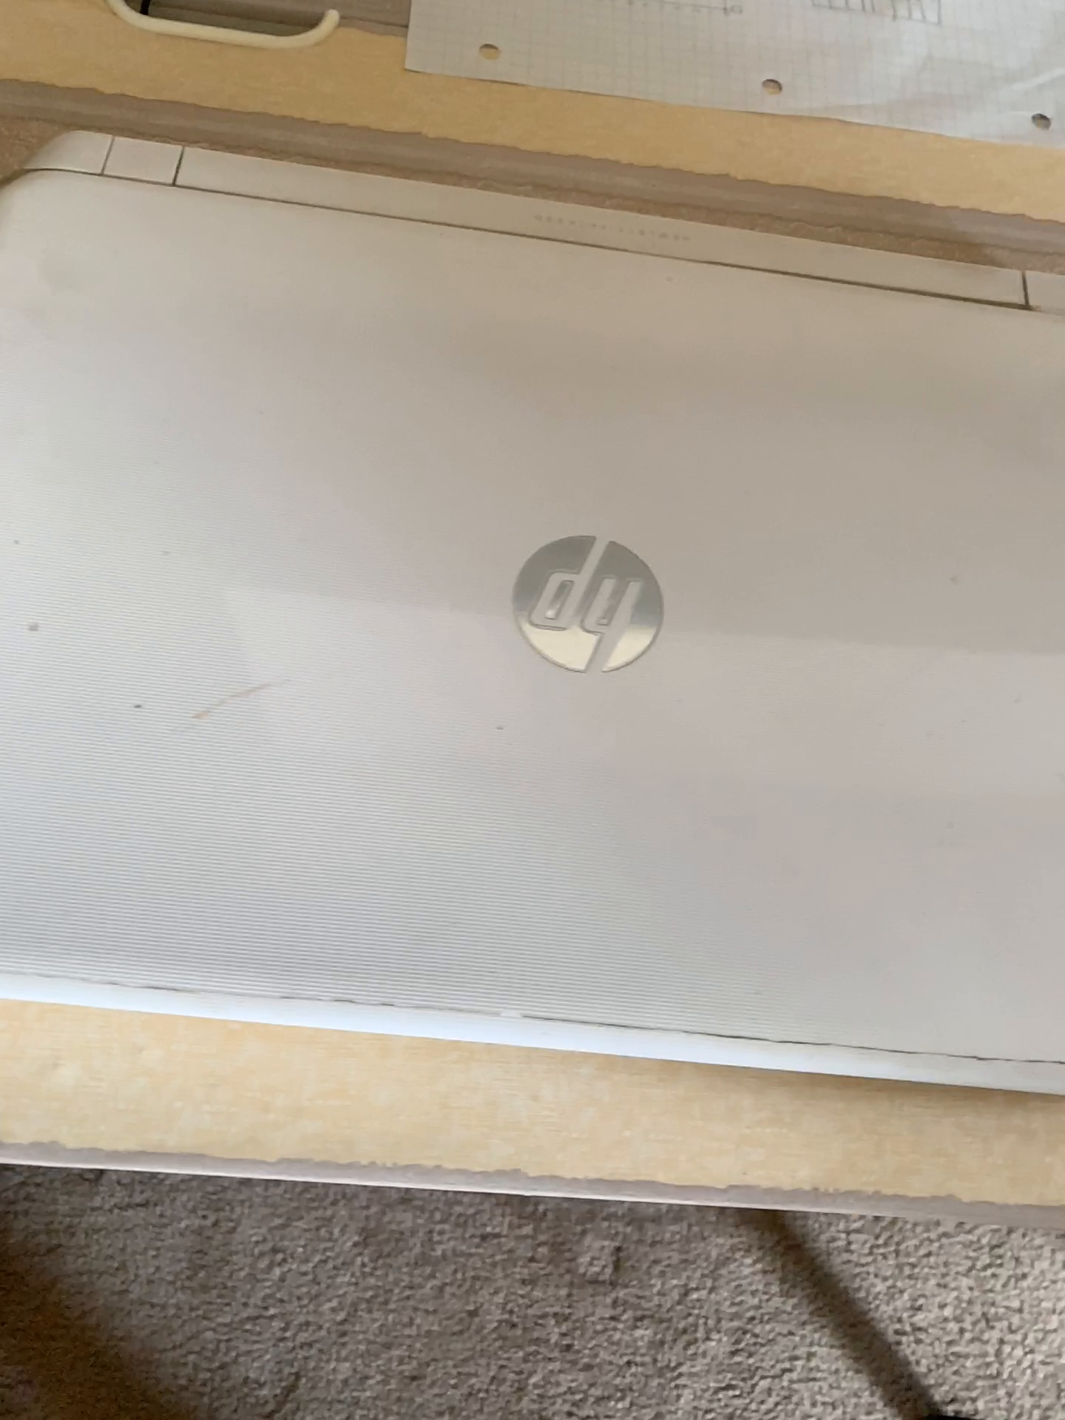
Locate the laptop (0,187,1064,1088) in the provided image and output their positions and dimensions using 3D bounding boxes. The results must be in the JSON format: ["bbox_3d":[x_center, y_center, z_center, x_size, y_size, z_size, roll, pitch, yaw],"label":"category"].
[{"bbox_3d":[0.014,-0.032,0.304,0.363,0.002,0.229,6,69,-3],"label":"laptop"}]
